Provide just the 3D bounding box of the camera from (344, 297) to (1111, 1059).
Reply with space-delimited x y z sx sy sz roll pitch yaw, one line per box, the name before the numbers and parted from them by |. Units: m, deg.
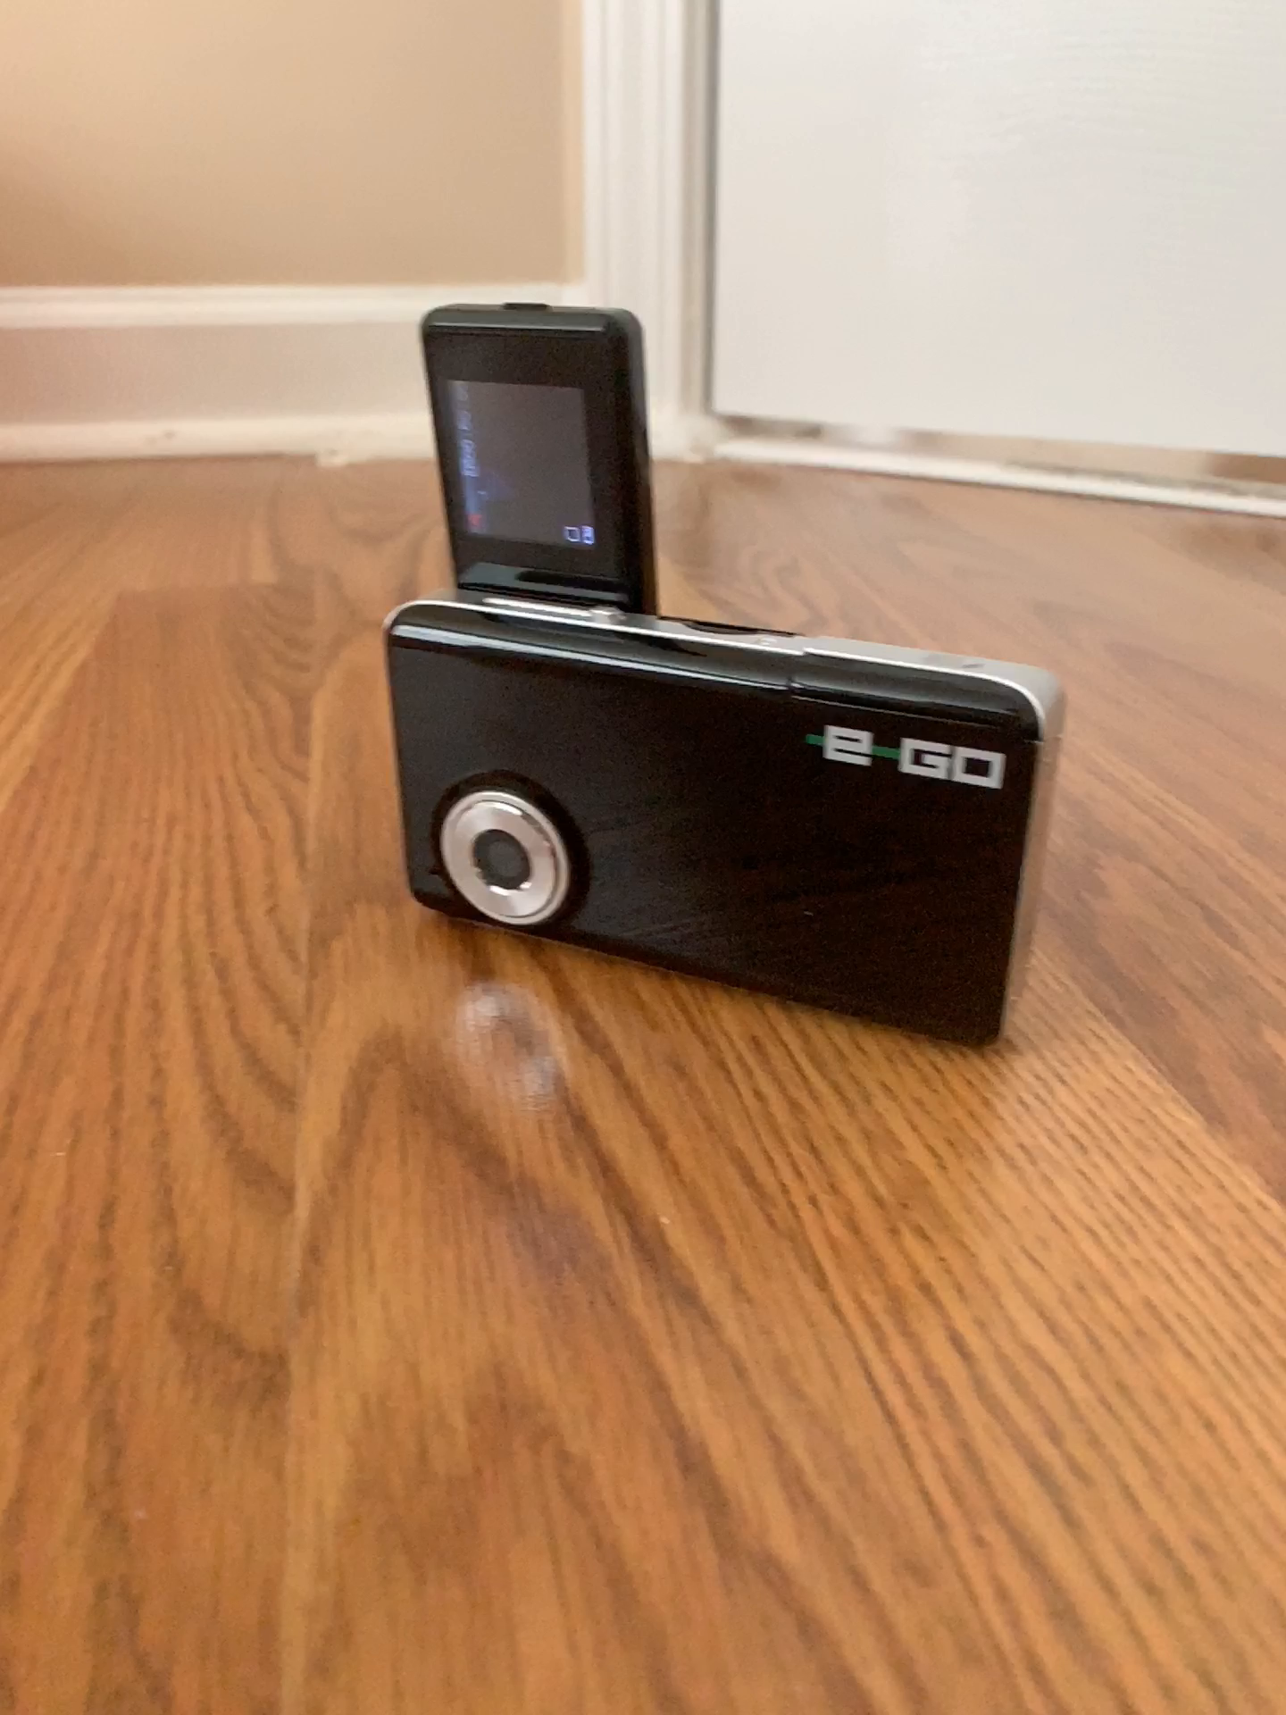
camera | 0.008 -0.033 0.227 0.119 0.111 0.022 12 27 25
